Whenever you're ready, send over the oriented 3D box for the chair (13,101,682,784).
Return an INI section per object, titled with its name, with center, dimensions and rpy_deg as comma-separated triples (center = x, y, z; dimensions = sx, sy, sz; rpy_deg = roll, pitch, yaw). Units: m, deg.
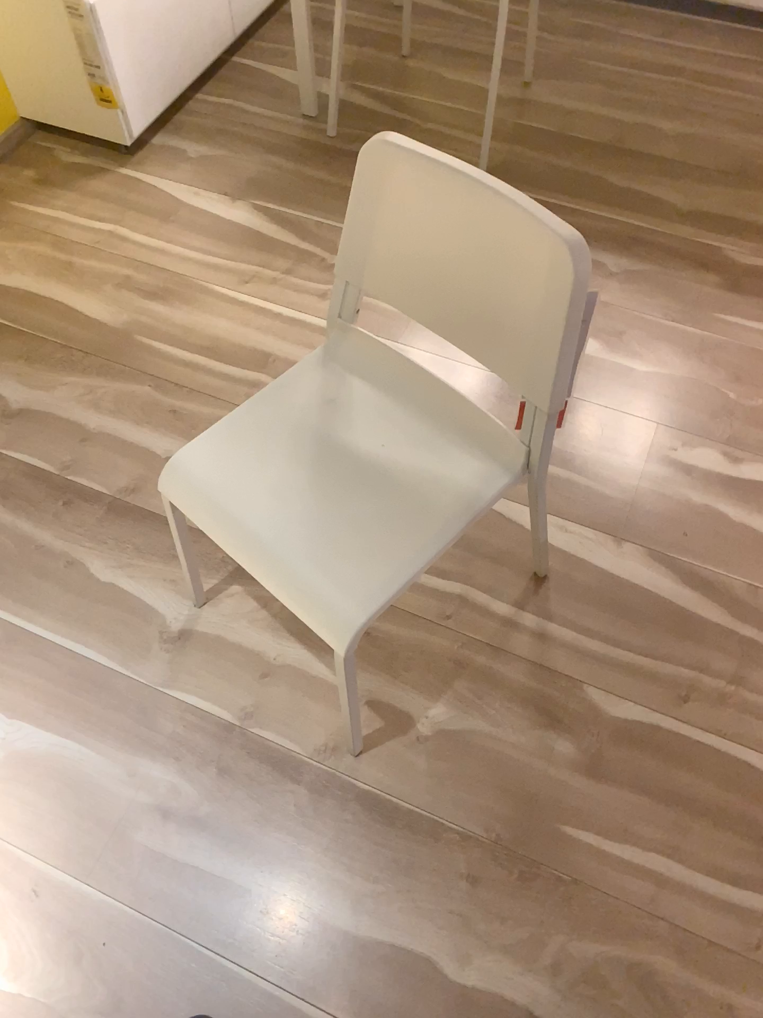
[chair]
center = -0.029, -0.057, 1.176
dimensions = 0.521, 0.708, 0.551
rpy_deg = 37, 66, 21
